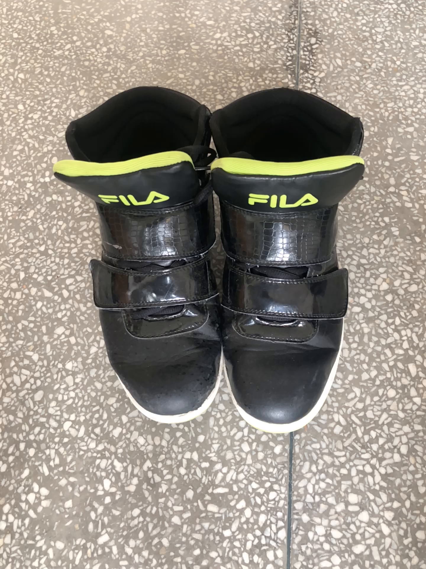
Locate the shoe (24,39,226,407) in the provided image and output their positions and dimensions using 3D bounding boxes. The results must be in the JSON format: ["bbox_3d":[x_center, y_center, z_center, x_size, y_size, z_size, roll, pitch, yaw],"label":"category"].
[{"bbox_3d":[-0.050,-0.045,0.400,0.120,0.148,0.270,0,68,2],"label":"shoe"}]

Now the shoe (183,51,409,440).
[{"bbox_3d":[0.060,-0.024,0.366,0.120,0.148,0.250,6,68,4],"label":"shoe"}]
